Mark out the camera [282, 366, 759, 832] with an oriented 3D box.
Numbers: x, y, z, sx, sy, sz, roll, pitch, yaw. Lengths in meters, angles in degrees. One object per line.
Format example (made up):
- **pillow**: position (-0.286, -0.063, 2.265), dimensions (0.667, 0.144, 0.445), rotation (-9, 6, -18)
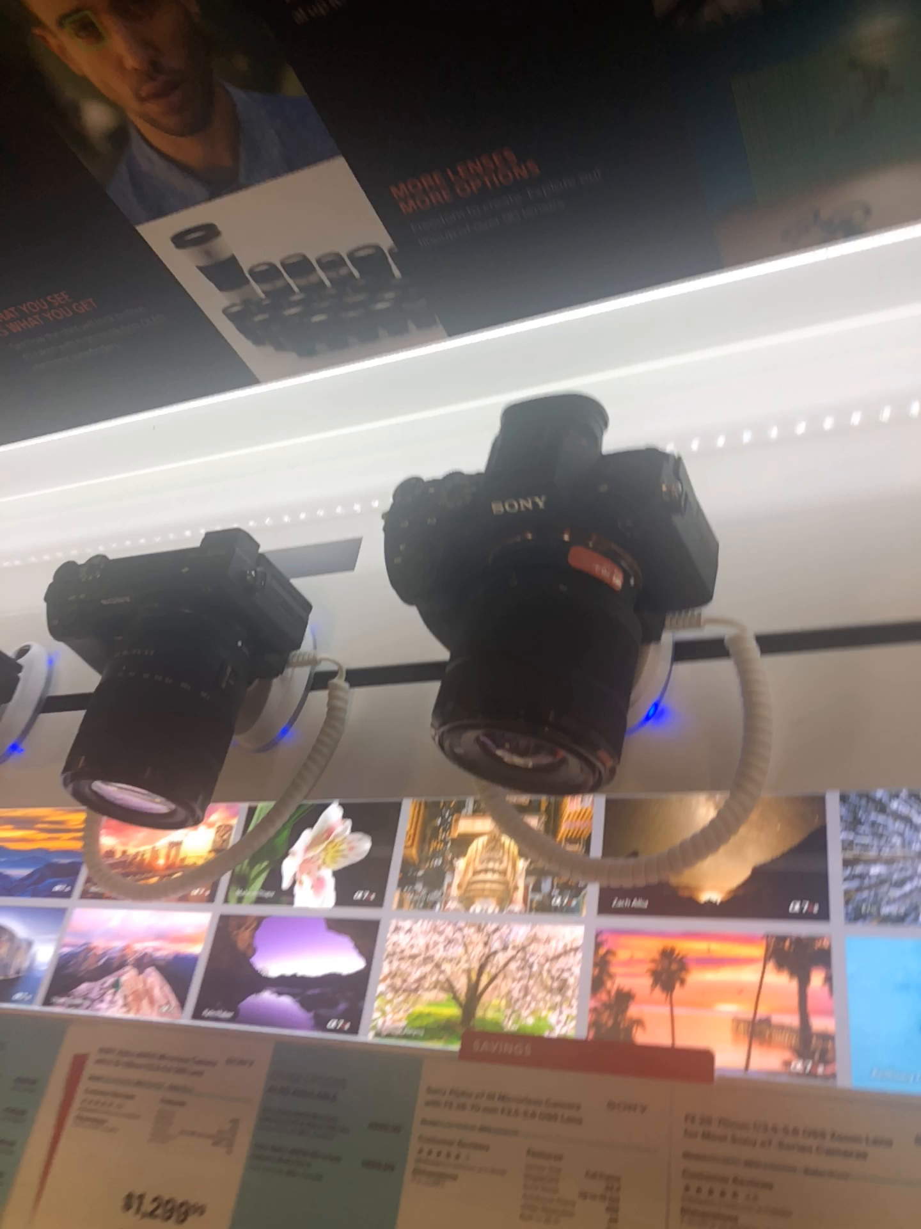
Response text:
- **camera**: position (0.032, -0.003, 0.394), dimensions (0.141, 0.090, 0.140), rotation (-2, 57, 27)
